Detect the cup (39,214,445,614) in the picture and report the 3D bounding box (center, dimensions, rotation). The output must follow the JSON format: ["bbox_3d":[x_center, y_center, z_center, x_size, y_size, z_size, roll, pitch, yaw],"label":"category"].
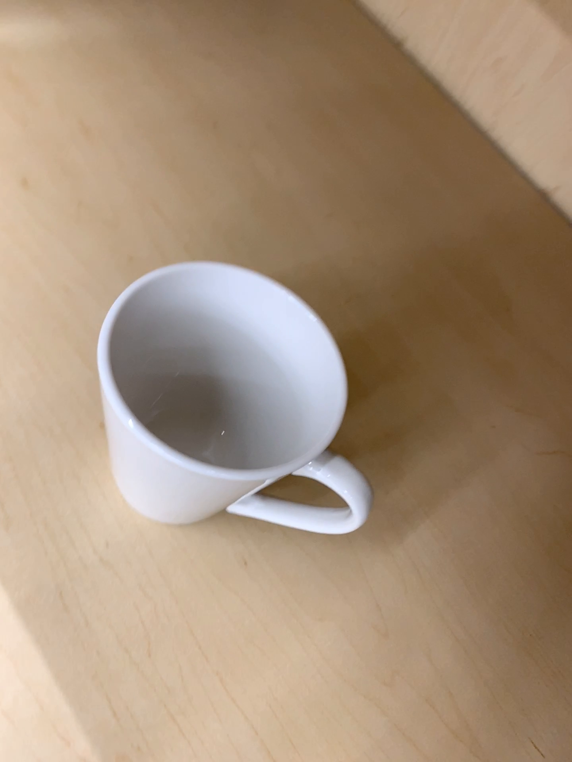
[{"bbox_3d":[-0.022,0.019,0.260,0.128,0.090,0.094,34,56,-1],"label":"cup"}]
